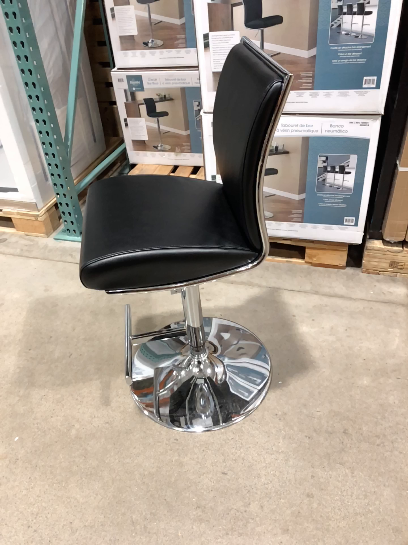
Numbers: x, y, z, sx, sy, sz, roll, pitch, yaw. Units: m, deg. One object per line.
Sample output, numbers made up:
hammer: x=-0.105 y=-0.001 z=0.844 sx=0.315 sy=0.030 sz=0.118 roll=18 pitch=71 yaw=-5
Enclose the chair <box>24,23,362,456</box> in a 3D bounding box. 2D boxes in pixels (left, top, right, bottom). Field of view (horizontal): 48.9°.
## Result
chair: x=-0.027 y=-0.064 z=1.203 sx=0.540 sy=0.946 sz=0.532 roll=-9 pitch=38 yaw=-6
